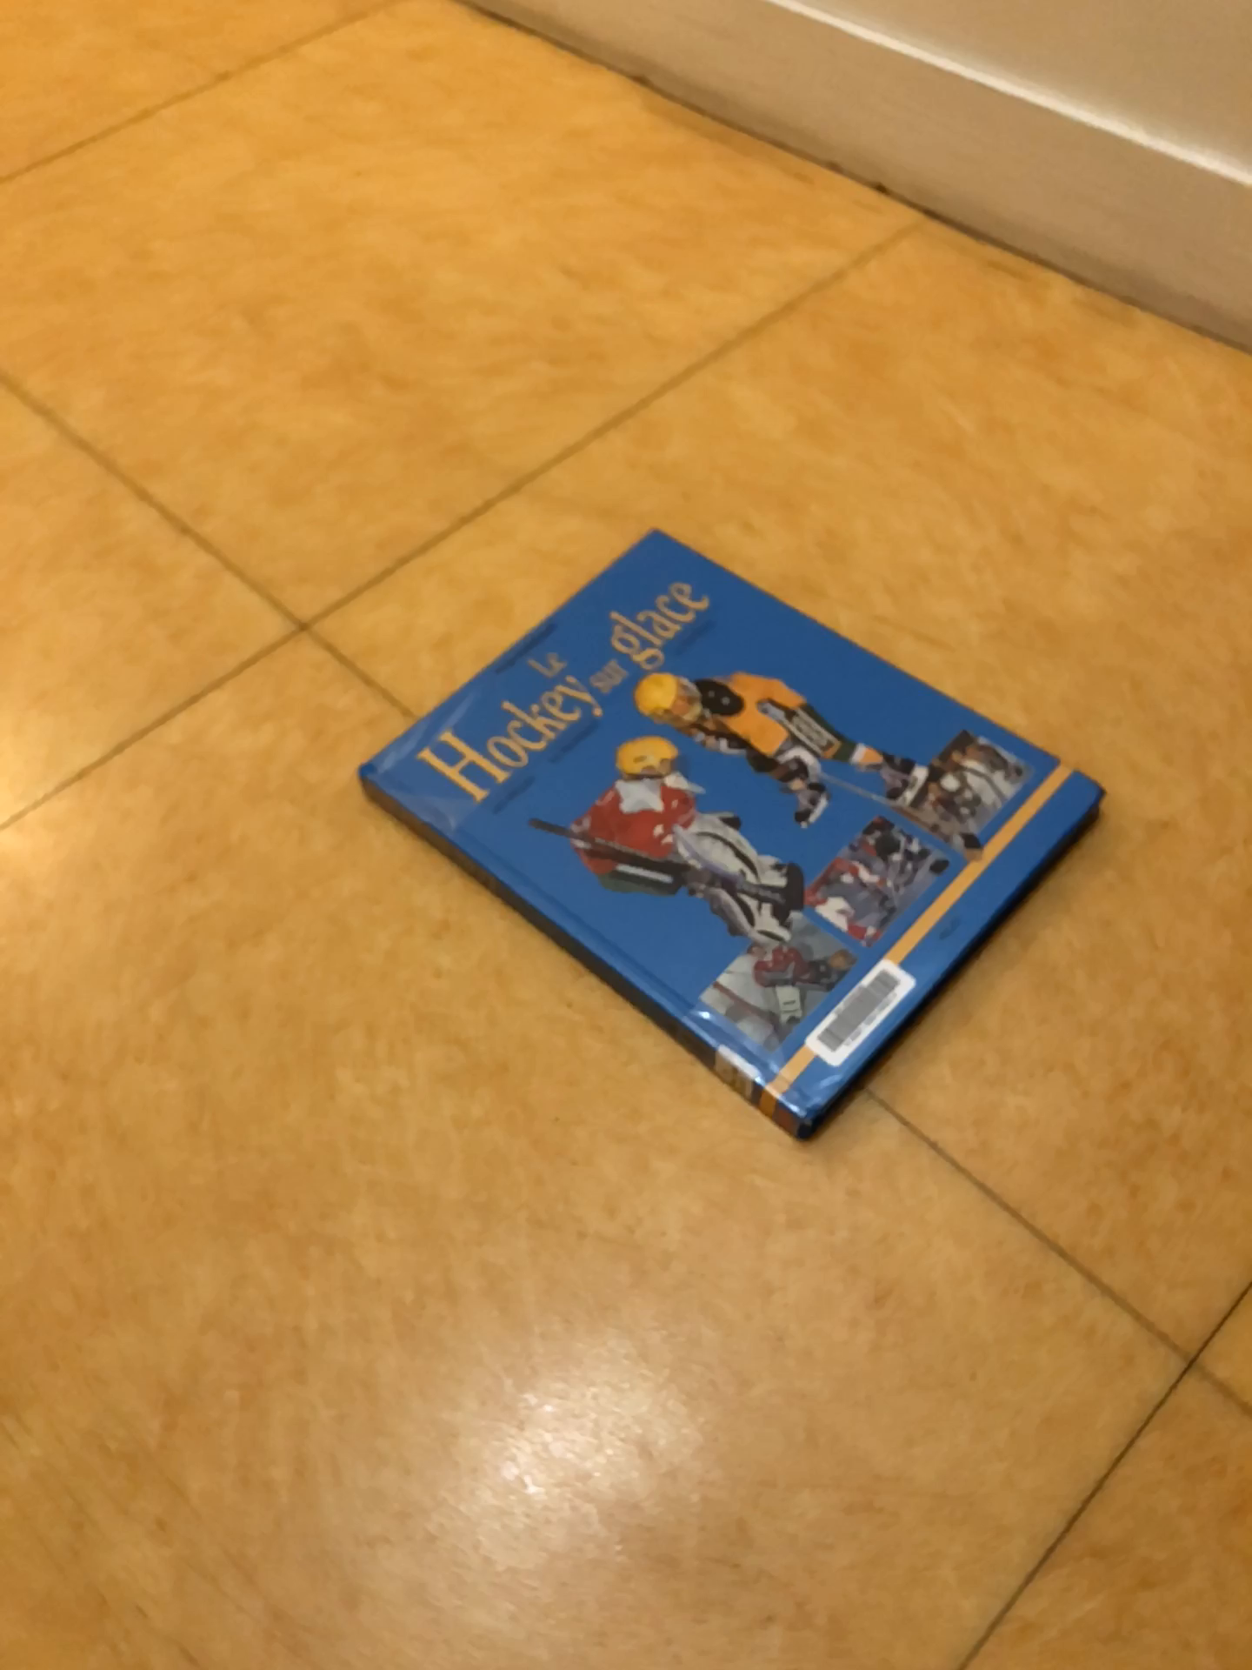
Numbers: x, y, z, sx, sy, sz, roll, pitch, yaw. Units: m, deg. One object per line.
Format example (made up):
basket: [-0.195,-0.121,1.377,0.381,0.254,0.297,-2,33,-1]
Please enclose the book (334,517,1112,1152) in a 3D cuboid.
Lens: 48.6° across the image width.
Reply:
book: [0.039,-0.021,0.606,0.260,0.020,0.211,35,63,25]
